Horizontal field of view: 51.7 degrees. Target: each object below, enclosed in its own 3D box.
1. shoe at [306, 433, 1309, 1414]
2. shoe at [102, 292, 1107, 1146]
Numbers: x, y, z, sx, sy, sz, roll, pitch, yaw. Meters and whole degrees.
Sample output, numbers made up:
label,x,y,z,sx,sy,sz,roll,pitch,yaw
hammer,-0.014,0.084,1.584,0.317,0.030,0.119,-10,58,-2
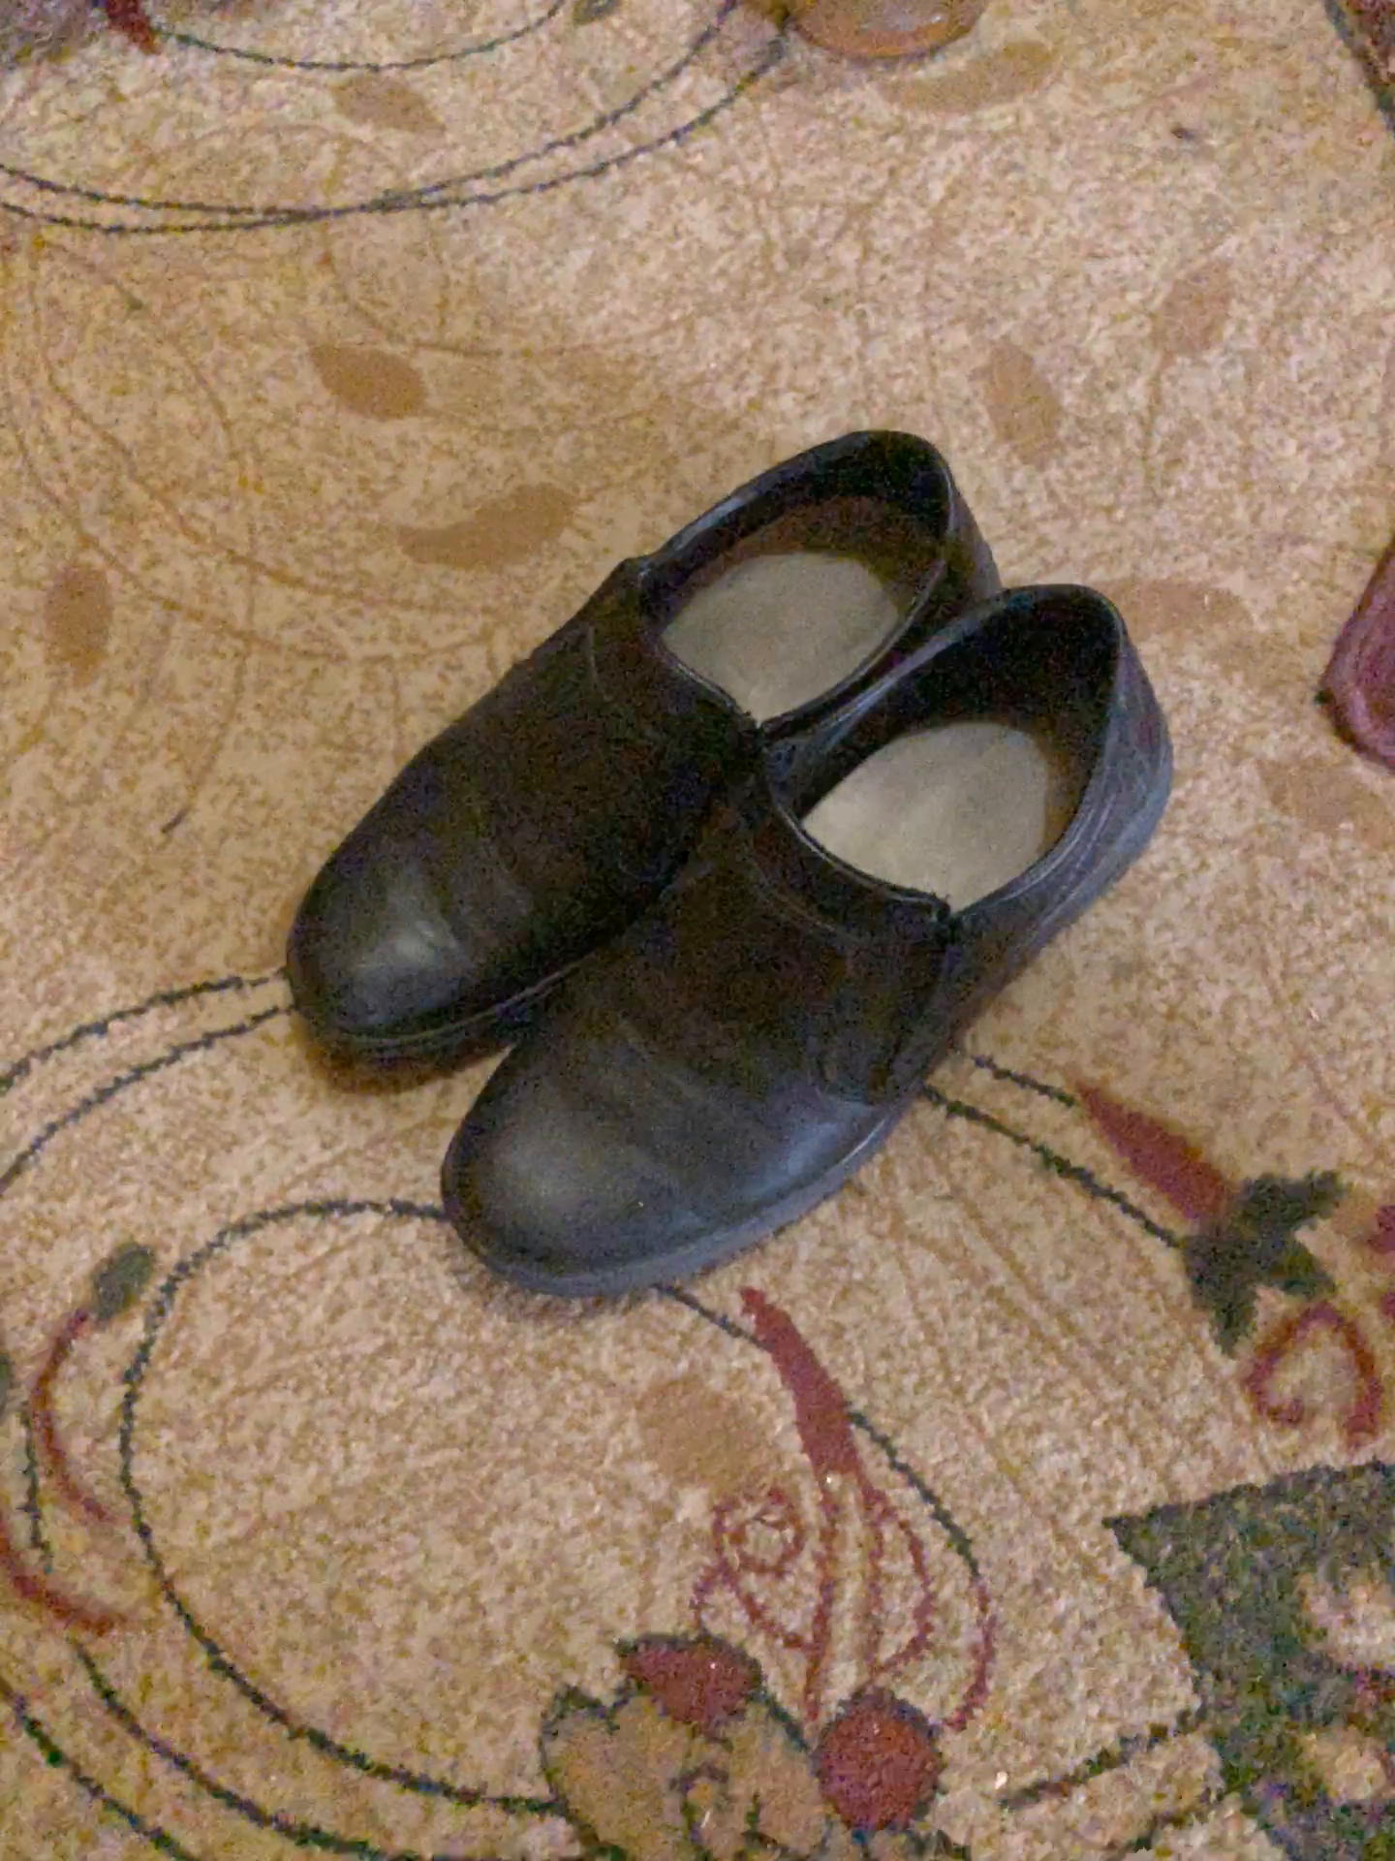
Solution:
label,x,y,z,sx,sy,sz,roll,pitch,yaw
shoe,0.038,0.001,0.438,0.100,0.100,0.290,42,81,18
shoe,-0.022,-0.063,0.467,0.290,0.100,0.100,-35,70,-5
